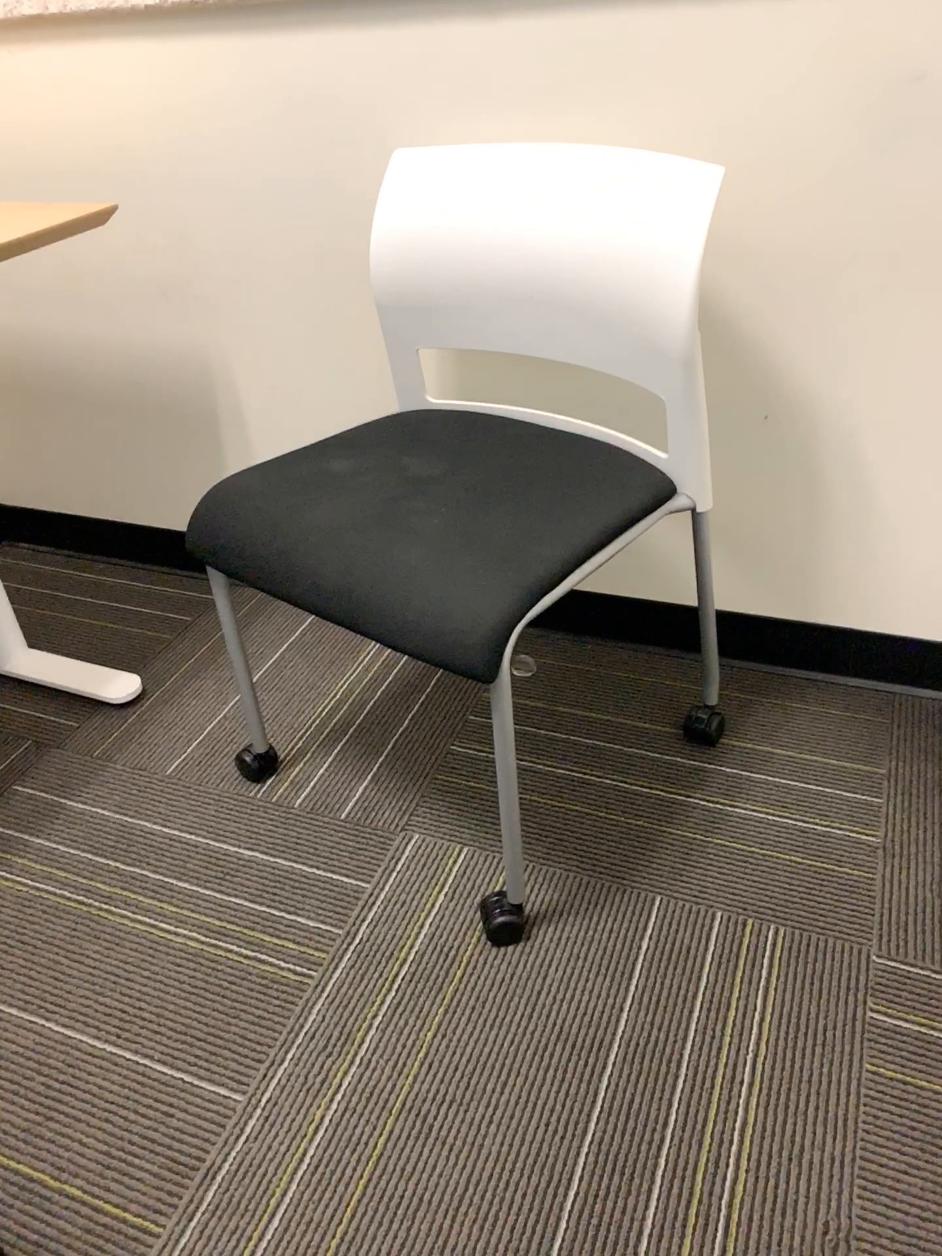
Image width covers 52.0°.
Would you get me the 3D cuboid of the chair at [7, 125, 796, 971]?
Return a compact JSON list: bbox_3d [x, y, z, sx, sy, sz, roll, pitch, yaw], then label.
[{"bbox_3d":[-0.038,-0.150,1.172,0.583,0.735,0.541,22,43,34],"label":"chair"}]
